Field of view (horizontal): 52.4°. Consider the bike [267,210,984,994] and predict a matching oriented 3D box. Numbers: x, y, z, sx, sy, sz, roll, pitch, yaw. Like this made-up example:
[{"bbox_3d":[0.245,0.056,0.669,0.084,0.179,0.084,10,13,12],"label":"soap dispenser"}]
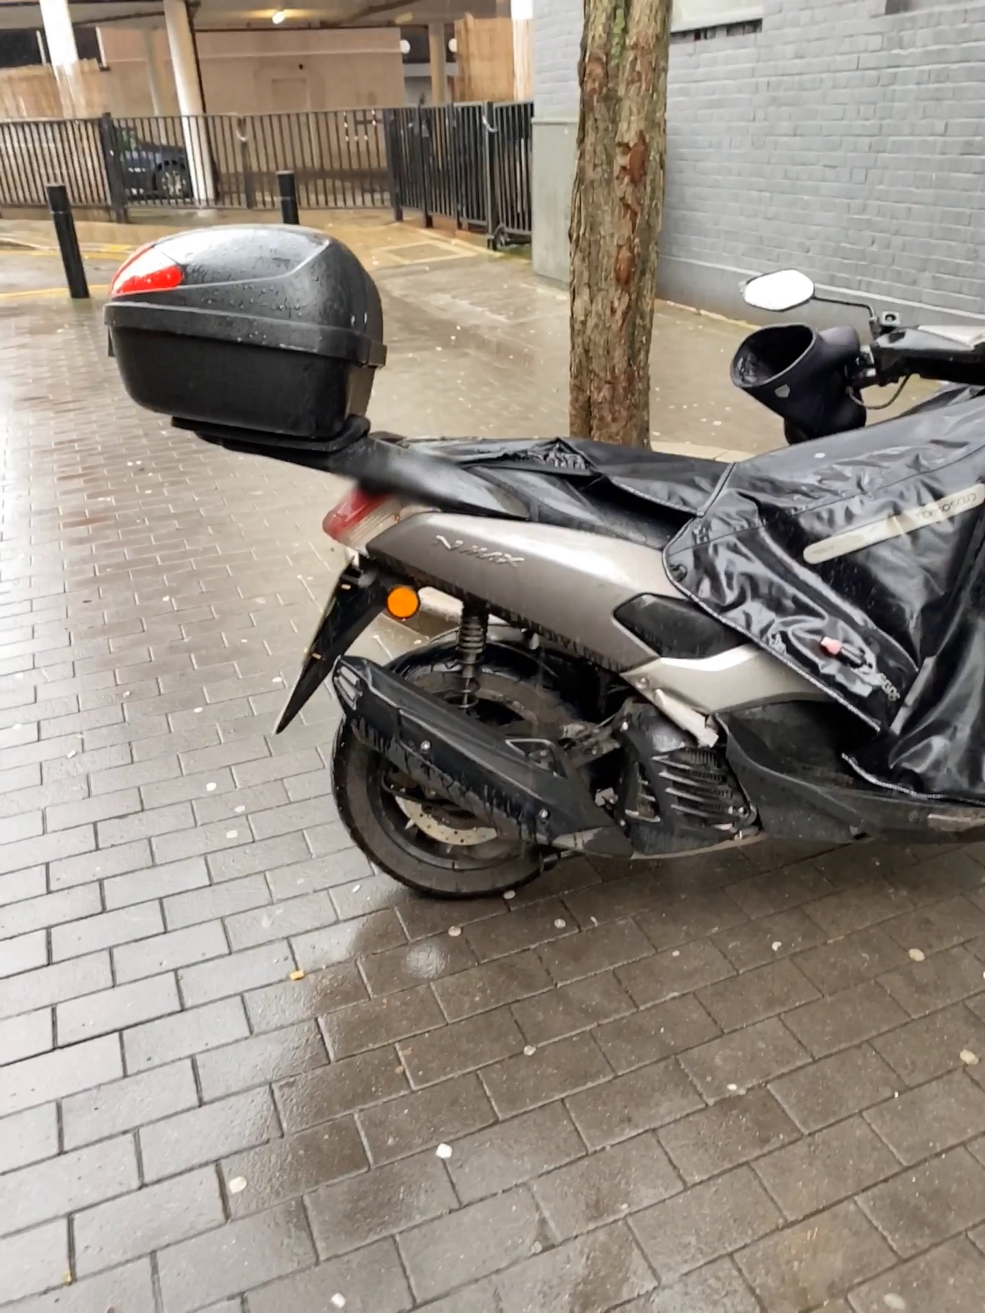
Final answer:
[{"bbox_3d":[0.583,-0.172,1.860,1.731,1.121,0.763,-5,28,-6],"label":"bike"}]
